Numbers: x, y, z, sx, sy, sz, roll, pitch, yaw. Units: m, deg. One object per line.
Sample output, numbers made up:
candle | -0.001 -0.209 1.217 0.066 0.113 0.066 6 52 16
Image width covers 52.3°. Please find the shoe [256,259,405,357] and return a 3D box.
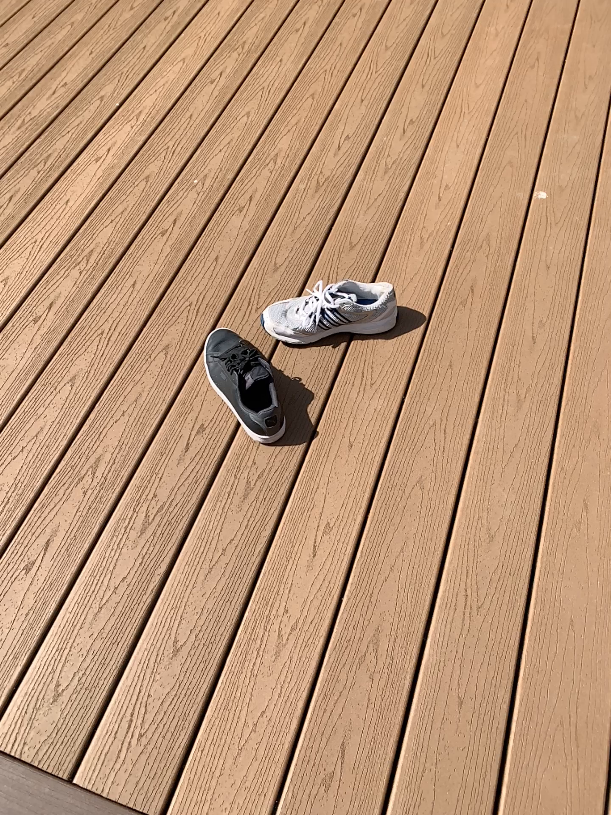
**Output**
shoe | 0.046 -0.197 1.239 0.270 0.120 0.110 -7 58 -3

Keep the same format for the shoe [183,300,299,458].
shoe | -0.119 -0.057 1.139 0.110 0.100 0.261 -23 60 -12
